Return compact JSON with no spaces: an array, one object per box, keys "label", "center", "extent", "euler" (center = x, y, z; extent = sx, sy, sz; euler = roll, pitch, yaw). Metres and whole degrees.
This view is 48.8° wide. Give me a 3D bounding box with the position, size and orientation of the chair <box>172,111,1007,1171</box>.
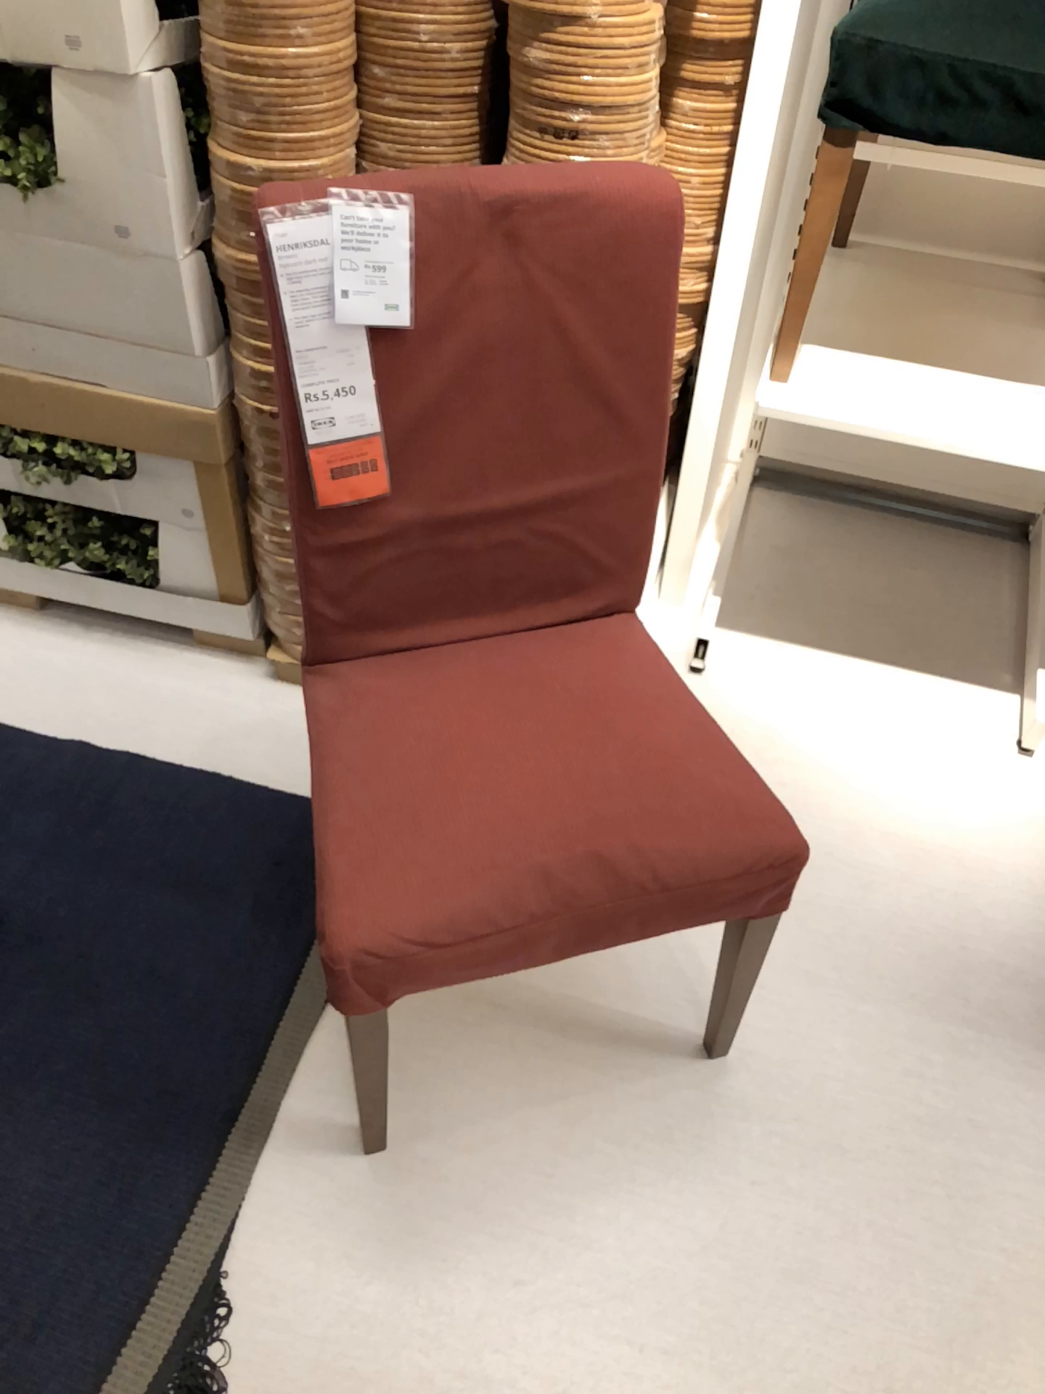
[{"label":"chair","center":[-0.013,-0.009,1.269],"extent":[0.520,0.994,0.533],"euler":[-10,47,-14]}]
